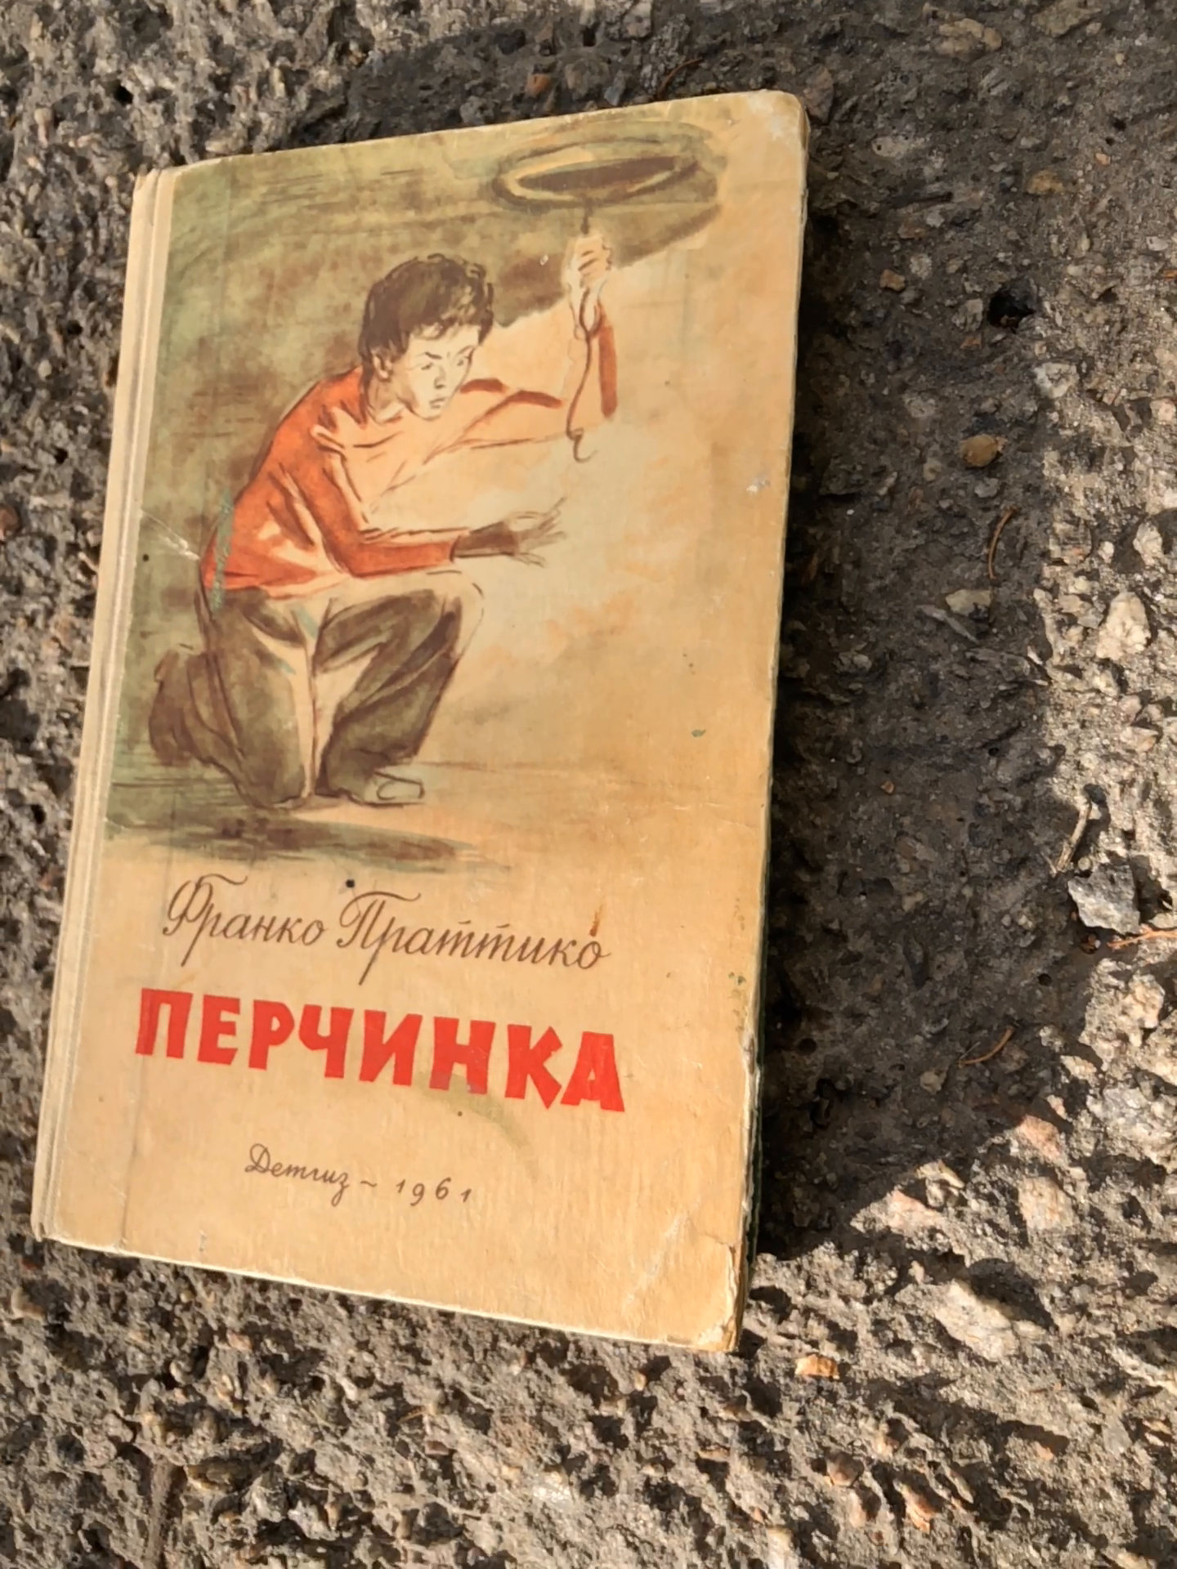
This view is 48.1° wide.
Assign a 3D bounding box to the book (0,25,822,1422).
[{"bbox_3d":[-0.035,-0.015,0.222,0.132,0.030,0.203,3,85,16],"label":"book"}]
